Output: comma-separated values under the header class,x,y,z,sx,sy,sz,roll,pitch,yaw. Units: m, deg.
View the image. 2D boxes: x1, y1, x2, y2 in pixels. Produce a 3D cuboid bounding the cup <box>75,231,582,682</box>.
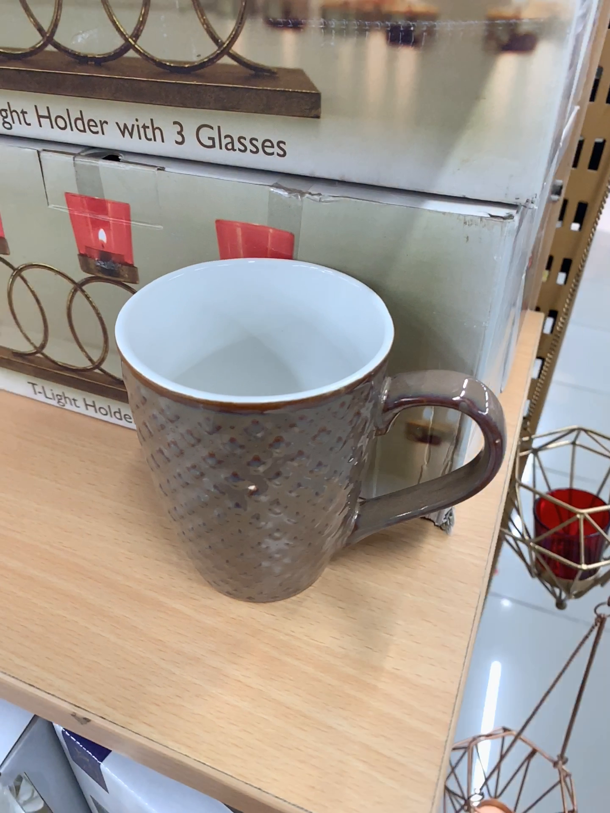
class,x,y,z,sx,sy,sz,roll,pitch,yaw
cup,0.011,0.008,0.216,0.130,0.090,0.090,13,35,13
